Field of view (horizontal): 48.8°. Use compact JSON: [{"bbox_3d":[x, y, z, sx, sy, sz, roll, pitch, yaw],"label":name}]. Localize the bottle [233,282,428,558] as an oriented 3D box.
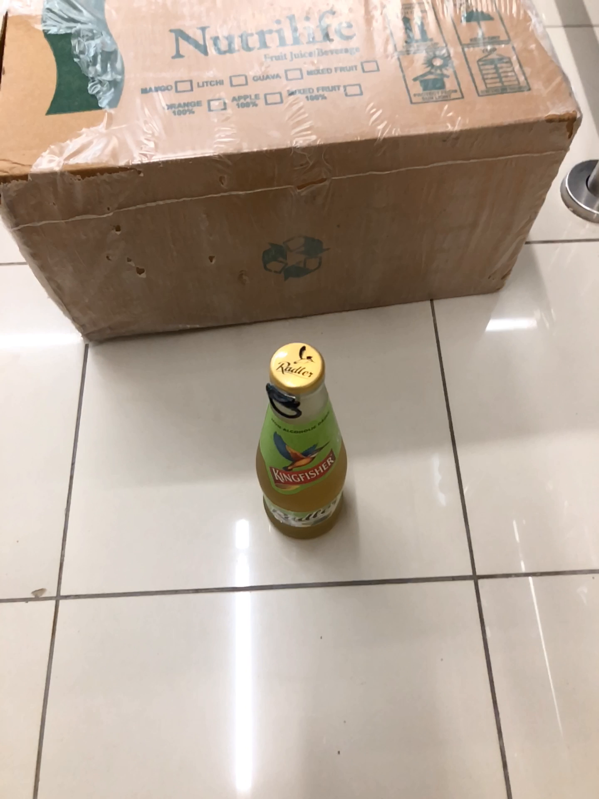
[{"bbox_3d":[0.013,0.027,0.388,0.080,0.199,0.080,0,64,1],"label":"bottle"}]
